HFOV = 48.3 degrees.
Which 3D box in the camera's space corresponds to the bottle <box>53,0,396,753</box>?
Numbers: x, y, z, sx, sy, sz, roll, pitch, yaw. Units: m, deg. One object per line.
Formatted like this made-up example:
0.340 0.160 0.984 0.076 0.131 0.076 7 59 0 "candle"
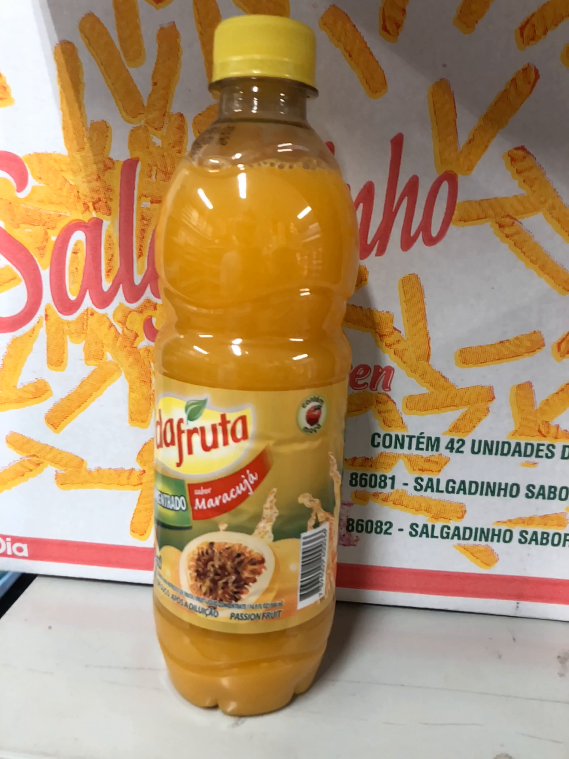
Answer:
-0.015 -0.002 0.192 0.070 0.199 0.060 8 17 19 "bottle"
